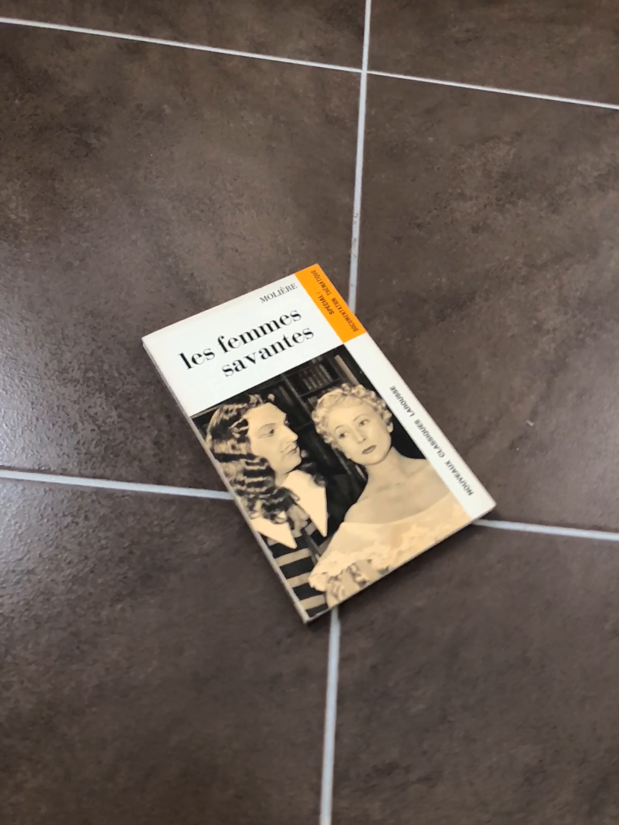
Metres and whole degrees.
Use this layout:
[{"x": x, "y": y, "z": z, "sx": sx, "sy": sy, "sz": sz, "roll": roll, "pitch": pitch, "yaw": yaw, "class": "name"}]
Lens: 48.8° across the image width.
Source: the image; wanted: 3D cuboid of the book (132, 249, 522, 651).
[{"x": 0.006, "y": 0.008, "z": 0.340, "sx": 0.120, "sy": 0.020, "sz": 0.170, "roll": -27, "pitch": 72, "yaw": -19, "class": "book"}]
